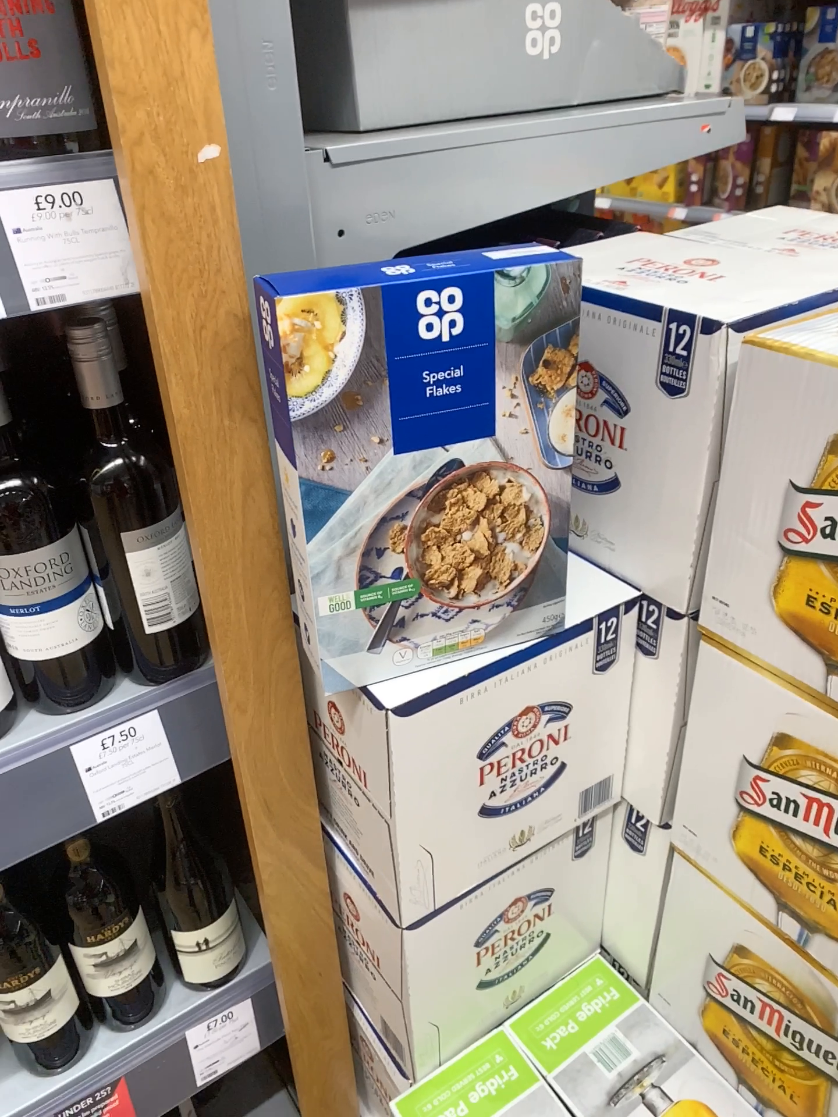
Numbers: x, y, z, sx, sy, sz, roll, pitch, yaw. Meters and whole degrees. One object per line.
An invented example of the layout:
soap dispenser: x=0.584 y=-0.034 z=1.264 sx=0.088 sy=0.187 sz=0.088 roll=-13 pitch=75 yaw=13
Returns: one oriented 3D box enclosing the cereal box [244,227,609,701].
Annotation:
cereal box: x=0.012 y=-0.059 z=0.564 sx=0.200 sy=0.267 sz=0.071 roll=-14 pitch=31 yaw=-16
